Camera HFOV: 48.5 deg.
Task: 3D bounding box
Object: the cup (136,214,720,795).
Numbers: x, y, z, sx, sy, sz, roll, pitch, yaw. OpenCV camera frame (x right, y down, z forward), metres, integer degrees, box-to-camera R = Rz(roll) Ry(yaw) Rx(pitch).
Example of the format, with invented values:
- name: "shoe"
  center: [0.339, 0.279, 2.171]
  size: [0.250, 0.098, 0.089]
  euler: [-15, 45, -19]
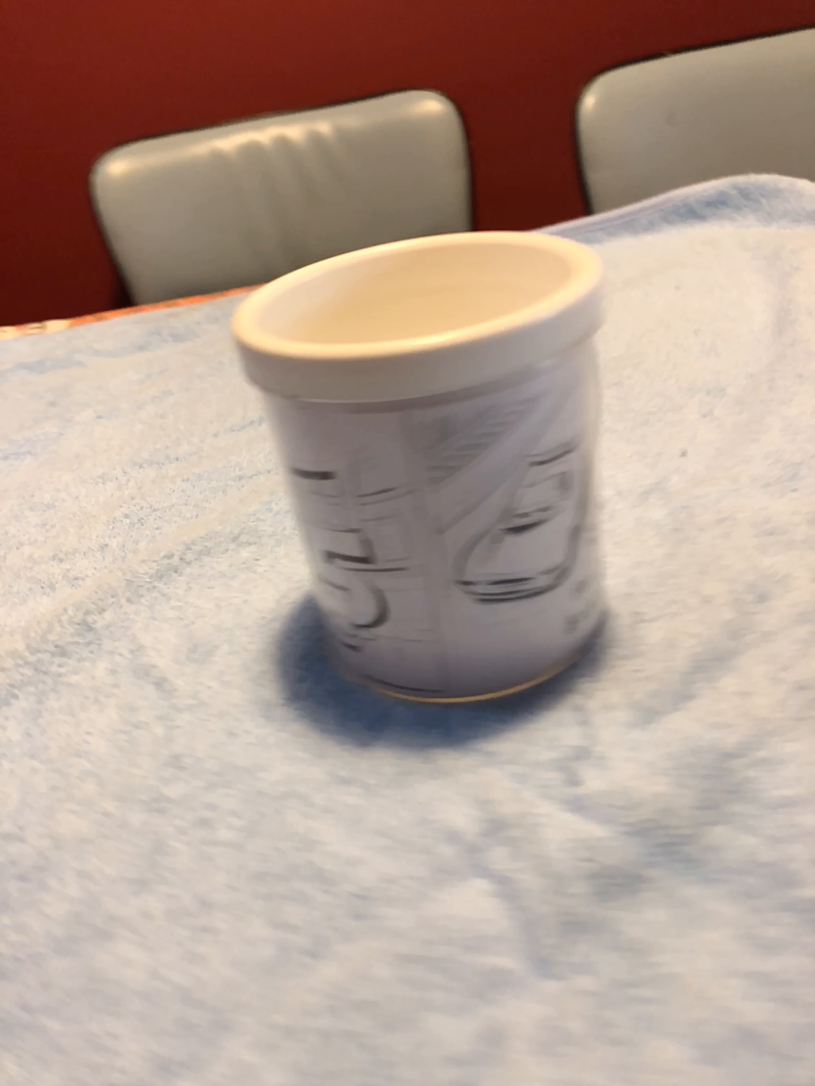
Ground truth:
- name: "cup"
  center: [0.015, -0.023, 0.250]
  size: [0.090, 0.099, 0.120]
  euler: [19, 42, 40]
